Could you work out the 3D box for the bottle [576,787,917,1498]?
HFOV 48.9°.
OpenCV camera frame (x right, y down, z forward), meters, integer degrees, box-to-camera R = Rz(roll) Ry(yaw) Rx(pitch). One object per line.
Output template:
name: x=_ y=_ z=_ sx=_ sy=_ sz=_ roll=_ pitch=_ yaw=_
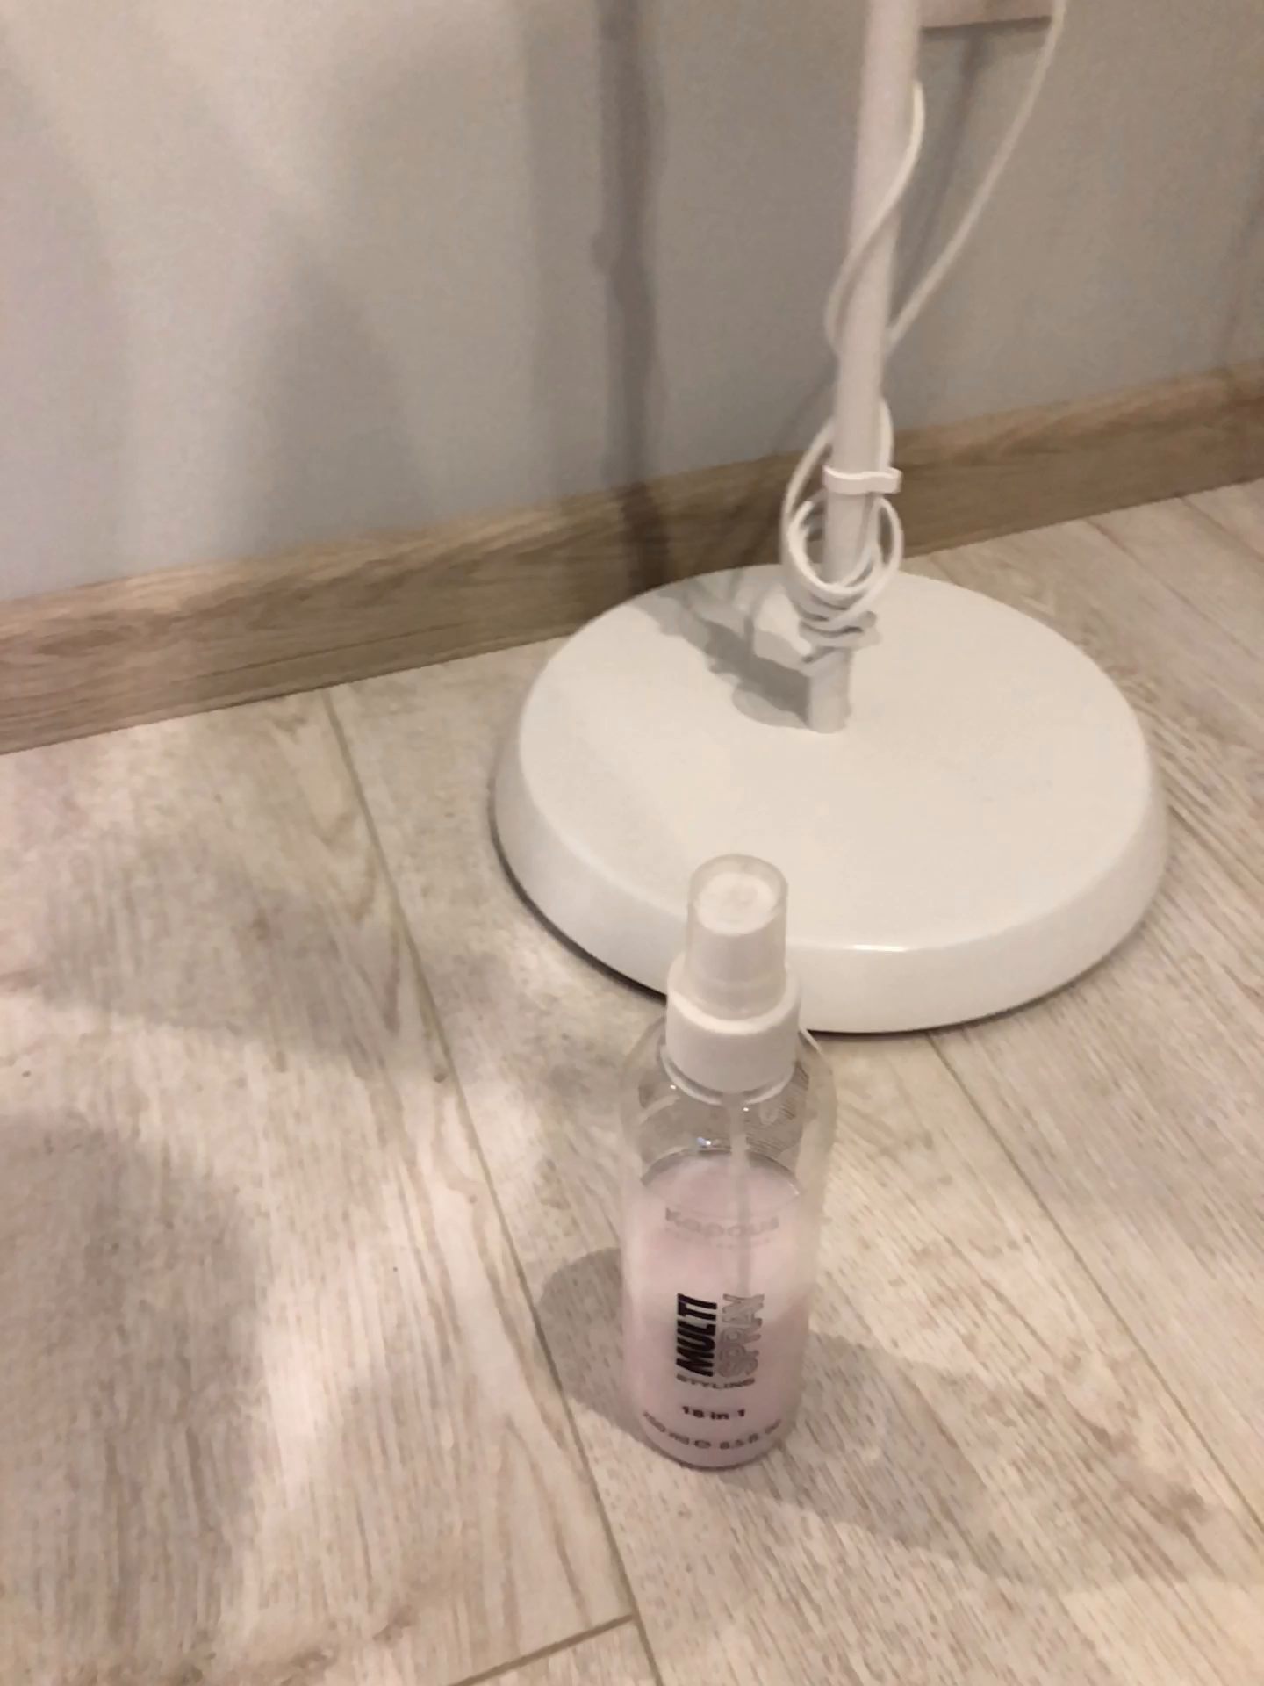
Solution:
bottle: x=0.021 y=0.079 z=0.328 sx=0.049 sy=0.183 sz=0.054 roll=-13 pitch=42 yaw=-14
